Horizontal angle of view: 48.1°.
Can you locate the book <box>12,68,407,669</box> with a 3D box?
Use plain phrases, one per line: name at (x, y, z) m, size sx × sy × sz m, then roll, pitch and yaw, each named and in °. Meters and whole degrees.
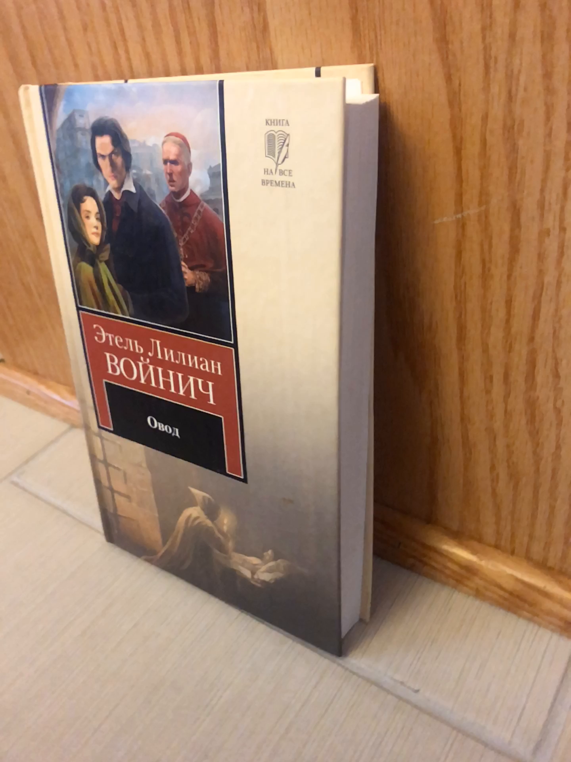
book at (-0.028, -0.005, 0.245) m, size 0.139 × 0.202 × 0.030 m, roll 15°, pitch 30°, yaw 32°
